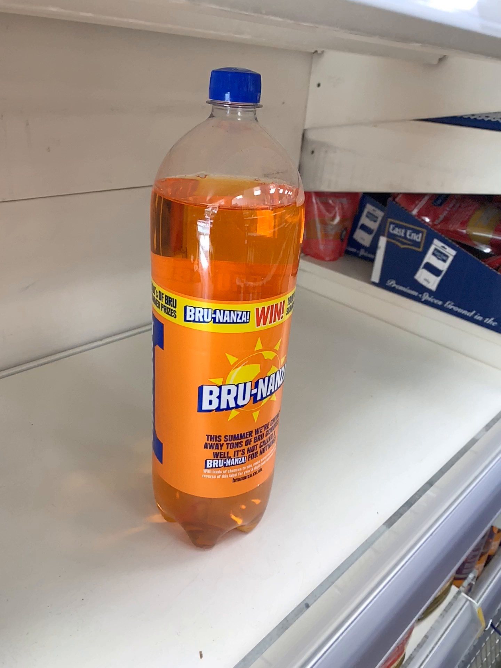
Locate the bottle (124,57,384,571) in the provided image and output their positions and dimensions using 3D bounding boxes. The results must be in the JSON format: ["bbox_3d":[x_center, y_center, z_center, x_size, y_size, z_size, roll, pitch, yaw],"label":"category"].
[{"bbox_3d":[-0.016,-0.007,0.371,0.110,0.327,0.111,4,27,-2],"label":"bottle"}]
